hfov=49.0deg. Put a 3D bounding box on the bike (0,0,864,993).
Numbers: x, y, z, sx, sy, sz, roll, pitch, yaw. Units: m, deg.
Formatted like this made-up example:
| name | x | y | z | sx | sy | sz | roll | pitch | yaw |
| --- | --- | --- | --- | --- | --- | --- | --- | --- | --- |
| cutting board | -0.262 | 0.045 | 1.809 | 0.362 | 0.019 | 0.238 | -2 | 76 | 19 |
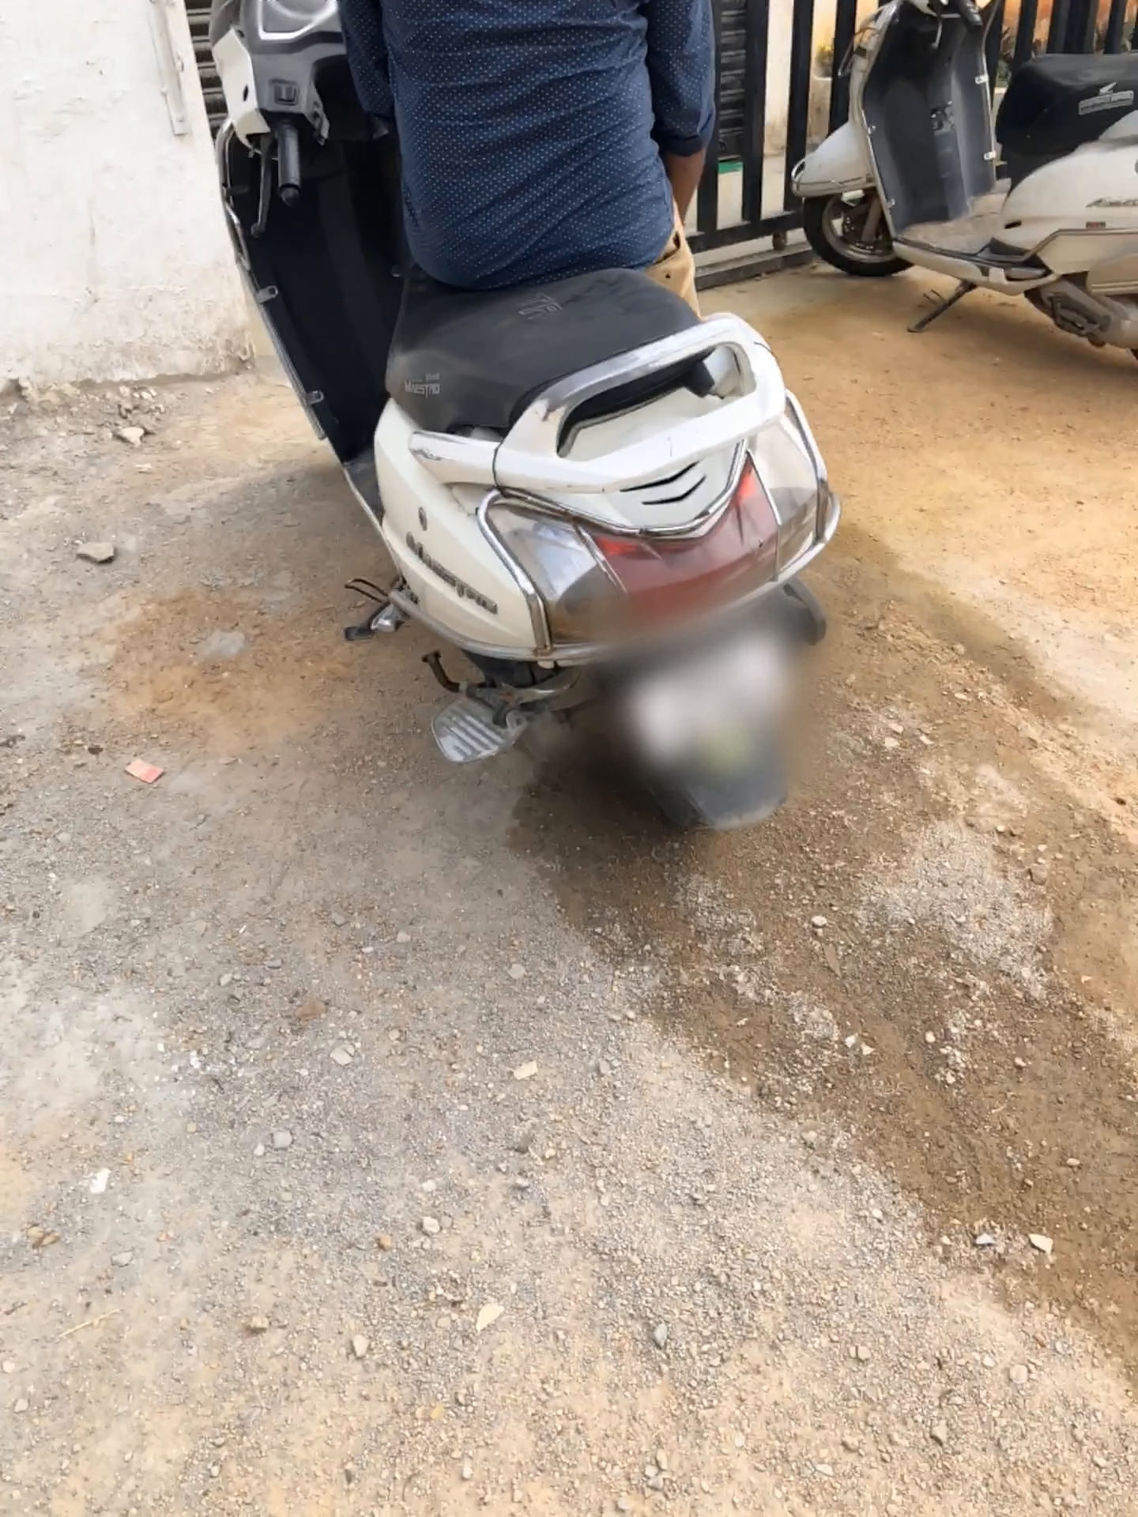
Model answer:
| name | x | y | z | sx | sy | sz | roll | pitch | yaw |
| --- | --- | --- | --- | --- | --- | --- | --- | --- | --- |
| bike | -0.344 | -0.731 | 1.968 | 0.601 | 1.231 | 1.559 | -19 | 42 | -23 |
